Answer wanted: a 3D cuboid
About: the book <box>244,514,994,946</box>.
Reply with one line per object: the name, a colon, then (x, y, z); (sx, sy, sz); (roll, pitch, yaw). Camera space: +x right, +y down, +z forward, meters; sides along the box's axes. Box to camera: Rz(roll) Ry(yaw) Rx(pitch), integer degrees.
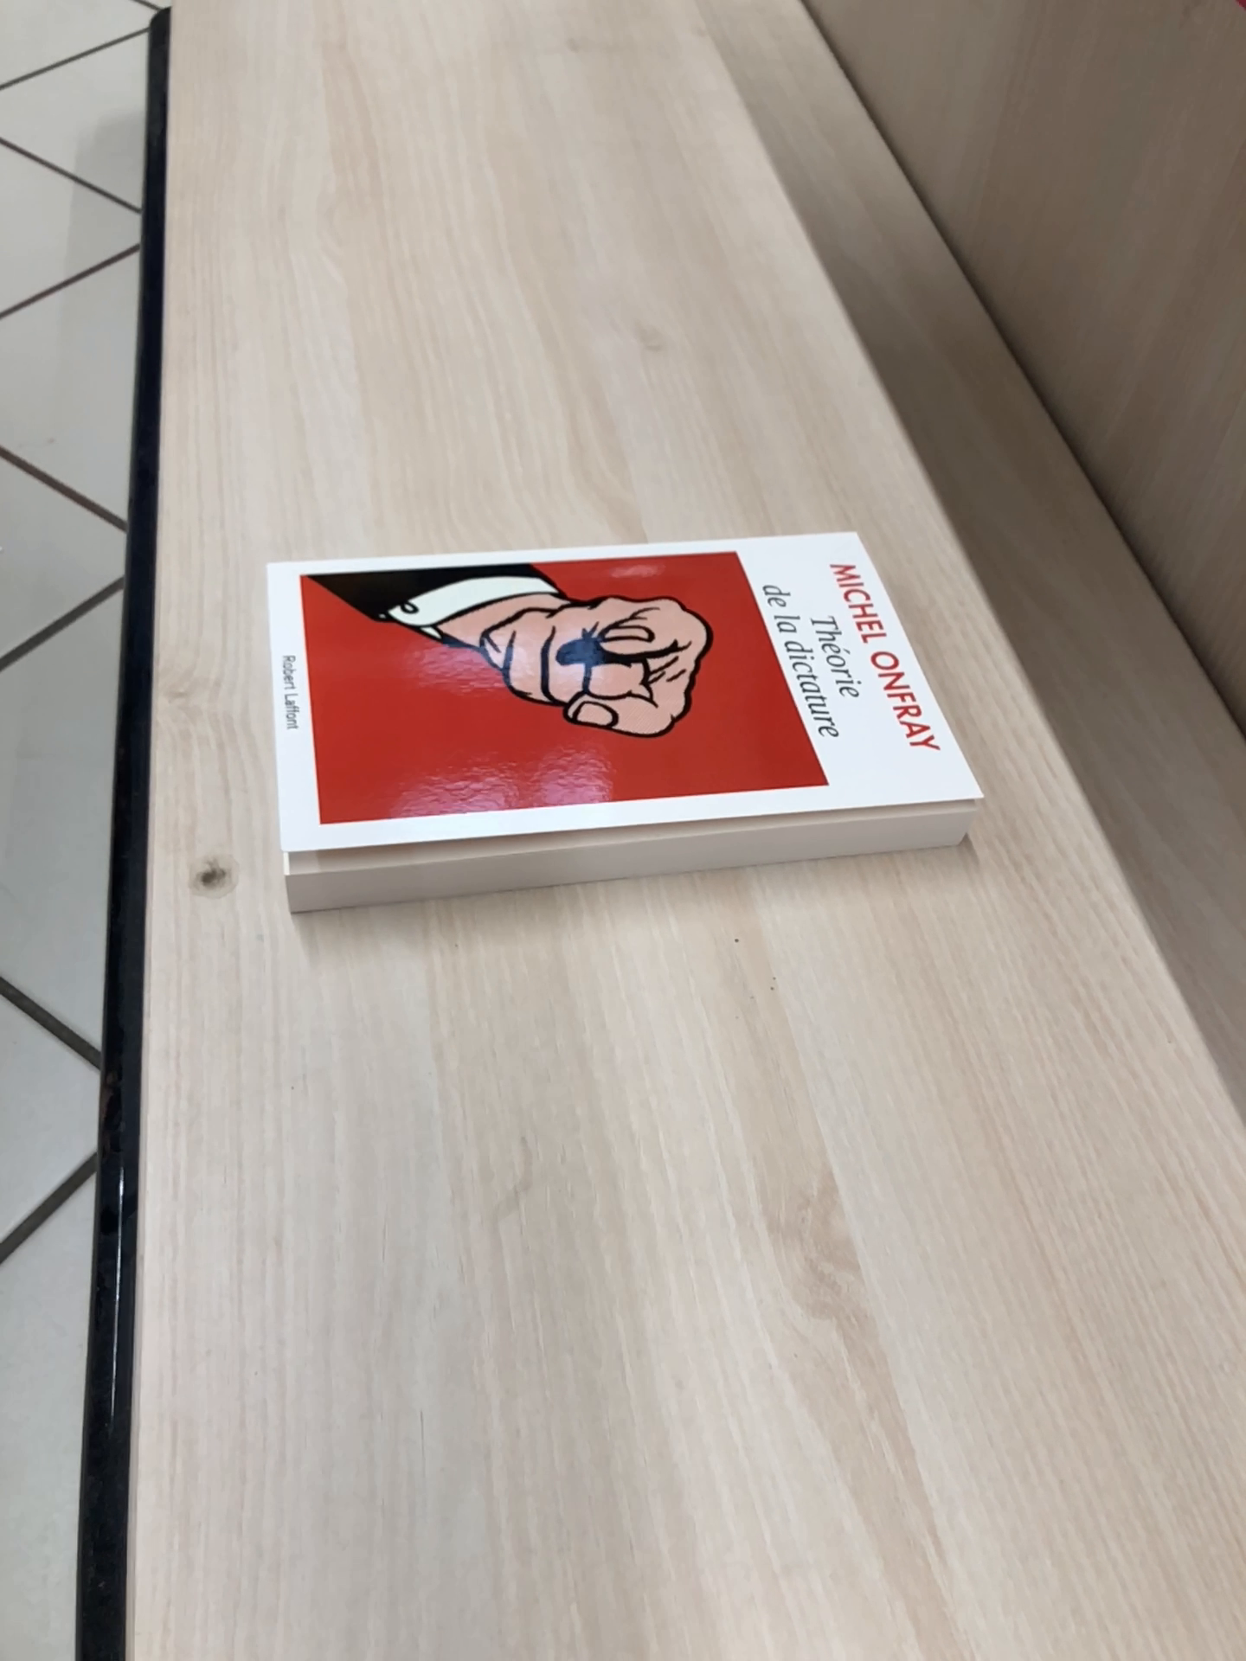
book: (-0.009, -0.039, 0.427); (0.207, 0.029, 0.139); (-4, 52, -11)
